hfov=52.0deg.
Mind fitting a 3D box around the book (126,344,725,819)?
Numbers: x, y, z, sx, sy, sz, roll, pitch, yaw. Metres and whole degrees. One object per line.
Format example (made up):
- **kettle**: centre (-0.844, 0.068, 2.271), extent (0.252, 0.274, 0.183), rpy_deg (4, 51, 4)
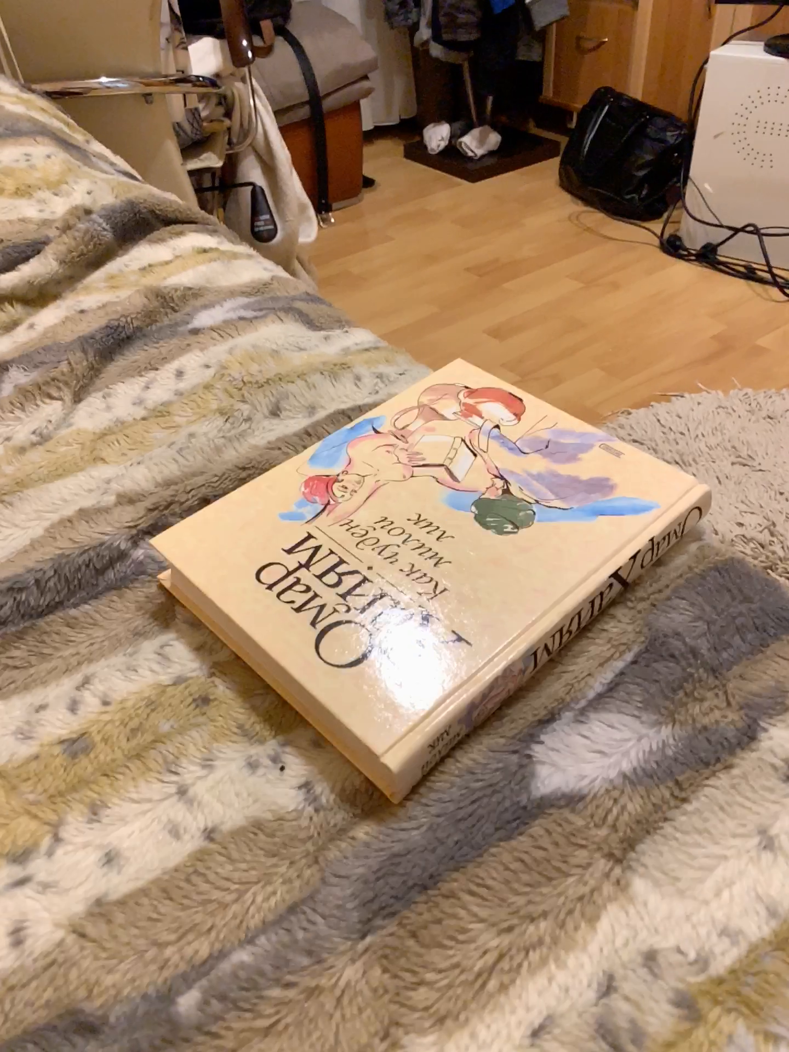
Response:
- **book**: centre (0.018, 0.000, 0.382), extent (0.221, 0.030, 0.171), rpy_deg (-34, 52, -30)
